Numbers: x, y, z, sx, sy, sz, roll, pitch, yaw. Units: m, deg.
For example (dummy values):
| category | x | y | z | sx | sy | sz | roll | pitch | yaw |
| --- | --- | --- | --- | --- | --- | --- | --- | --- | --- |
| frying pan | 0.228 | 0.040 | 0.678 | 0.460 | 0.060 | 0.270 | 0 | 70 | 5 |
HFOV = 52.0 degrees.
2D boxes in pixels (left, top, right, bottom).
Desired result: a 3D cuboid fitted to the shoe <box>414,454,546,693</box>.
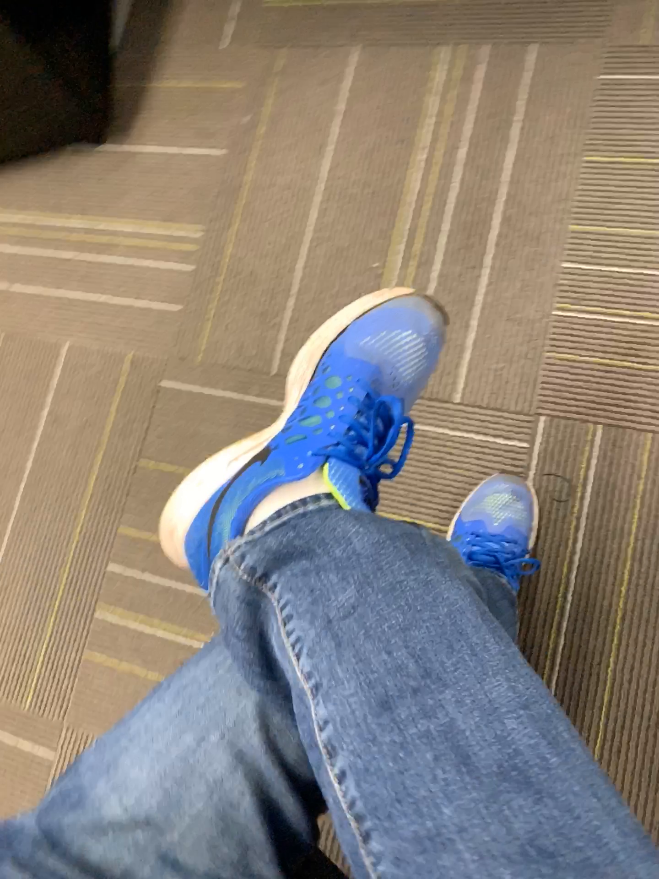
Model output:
| category | x | y | z | sx | sy | sz | roll | pitch | yaw |
| --- | --- | --- | --- | --- | --- | --- | --- | --- | --- |
| shoe | 0.205 | 0.175 | 0.905 | 0.101 | 0.086 | 0.283 | 13 | 81 | 19 |

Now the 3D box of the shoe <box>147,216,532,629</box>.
| category | x | y | z | sx | sy | sz | roll | pitch | yaw |
| --- | --- | --- | --- | --- | --- | --- | --- | --- | --- |
| shoe | 0.008 | -0.012 | 0.512 | 0.275 | 0.117 | 0.103 | -52 | 44 | 0 |
